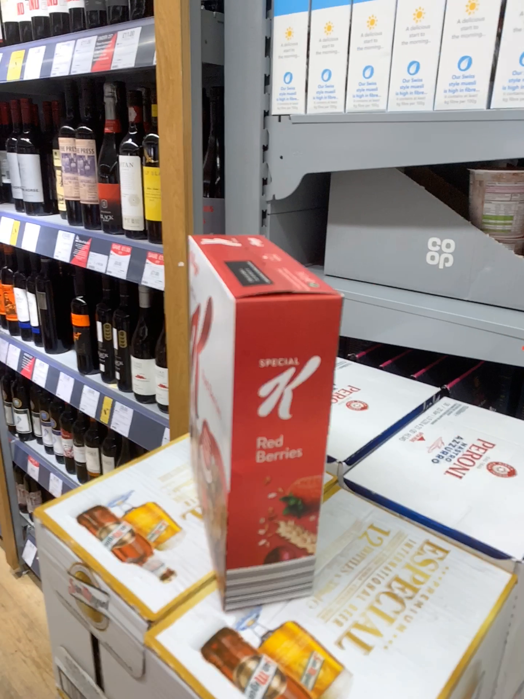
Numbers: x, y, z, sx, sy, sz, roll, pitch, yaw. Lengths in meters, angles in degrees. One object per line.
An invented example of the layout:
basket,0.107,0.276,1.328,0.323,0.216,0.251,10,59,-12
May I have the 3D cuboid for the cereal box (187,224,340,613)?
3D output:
cereal box,-0.017,0.035,0.431,0.070,0.238,0.202,-1,21,-12
